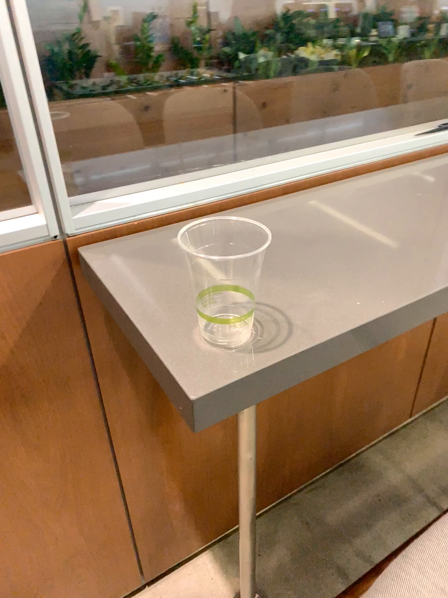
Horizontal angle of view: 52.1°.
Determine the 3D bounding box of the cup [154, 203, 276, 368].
[{"bbox_3d":[-0.010,-0.017,0.487,0.090,0.129,0.091,-1,32,1],"label":"cup"}]
